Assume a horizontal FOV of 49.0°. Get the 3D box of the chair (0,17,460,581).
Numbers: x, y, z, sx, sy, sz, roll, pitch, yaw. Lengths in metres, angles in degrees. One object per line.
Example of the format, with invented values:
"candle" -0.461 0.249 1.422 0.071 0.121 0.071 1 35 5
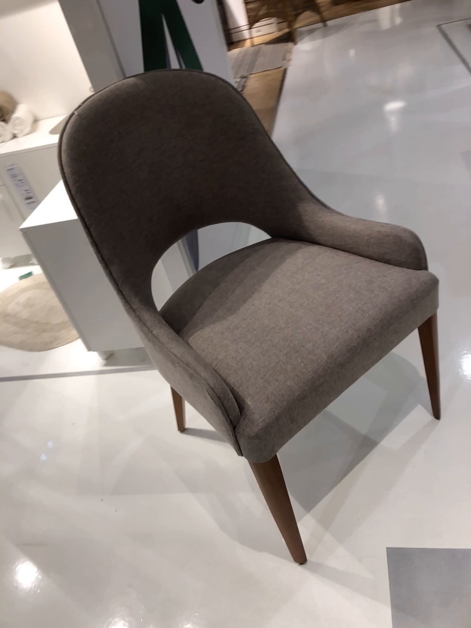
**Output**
"chair" 0.039 -0.054 1.136 0.571 0.893 0.614 -35 40 -23
